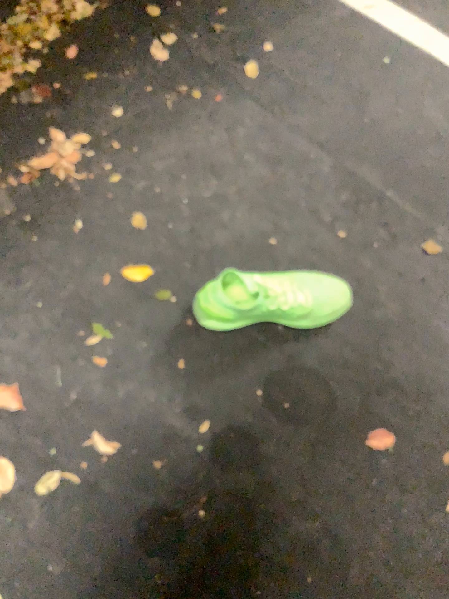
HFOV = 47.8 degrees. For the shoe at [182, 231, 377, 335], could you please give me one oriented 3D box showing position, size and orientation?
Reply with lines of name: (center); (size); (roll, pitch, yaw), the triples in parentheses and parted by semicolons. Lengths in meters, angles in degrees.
shoe: (0.091, -0.027, 0.930); (0.320, 0.150, 0.130); (0, 62, 1)
